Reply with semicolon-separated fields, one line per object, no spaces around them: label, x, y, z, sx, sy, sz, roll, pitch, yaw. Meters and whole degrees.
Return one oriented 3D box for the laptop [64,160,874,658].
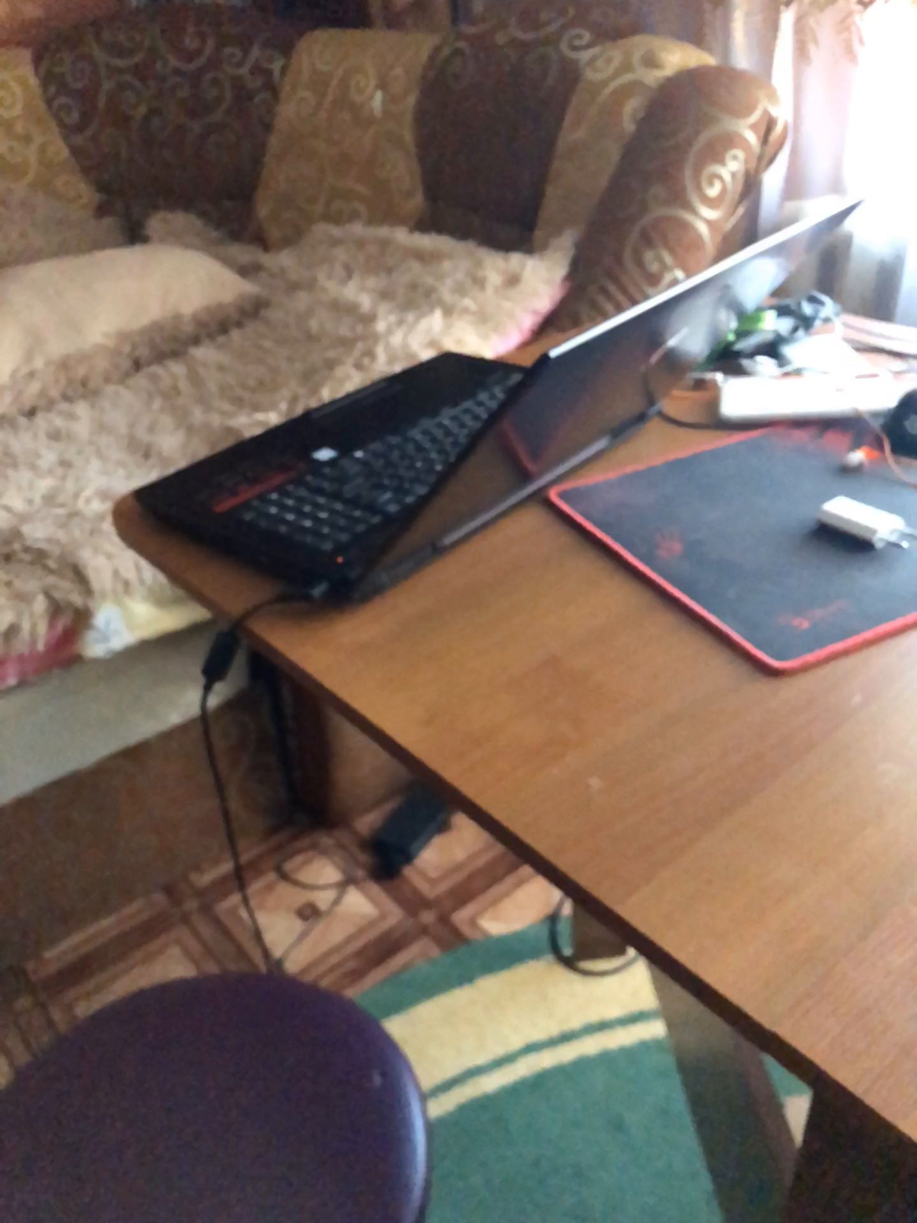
laptop;0.009;-0.193;0.750;0.410;0.174;0.374;22;41;36
